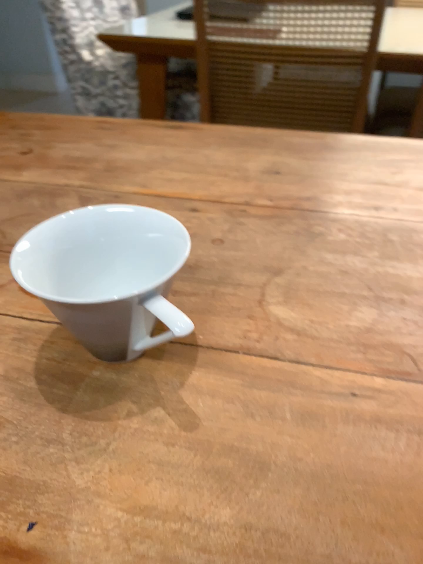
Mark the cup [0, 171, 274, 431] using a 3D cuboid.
[{"bbox_3d":[-0.043,-0.002,0.243,0.090,0.060,0.120,-25,44,-29],"label":"cup"}]
